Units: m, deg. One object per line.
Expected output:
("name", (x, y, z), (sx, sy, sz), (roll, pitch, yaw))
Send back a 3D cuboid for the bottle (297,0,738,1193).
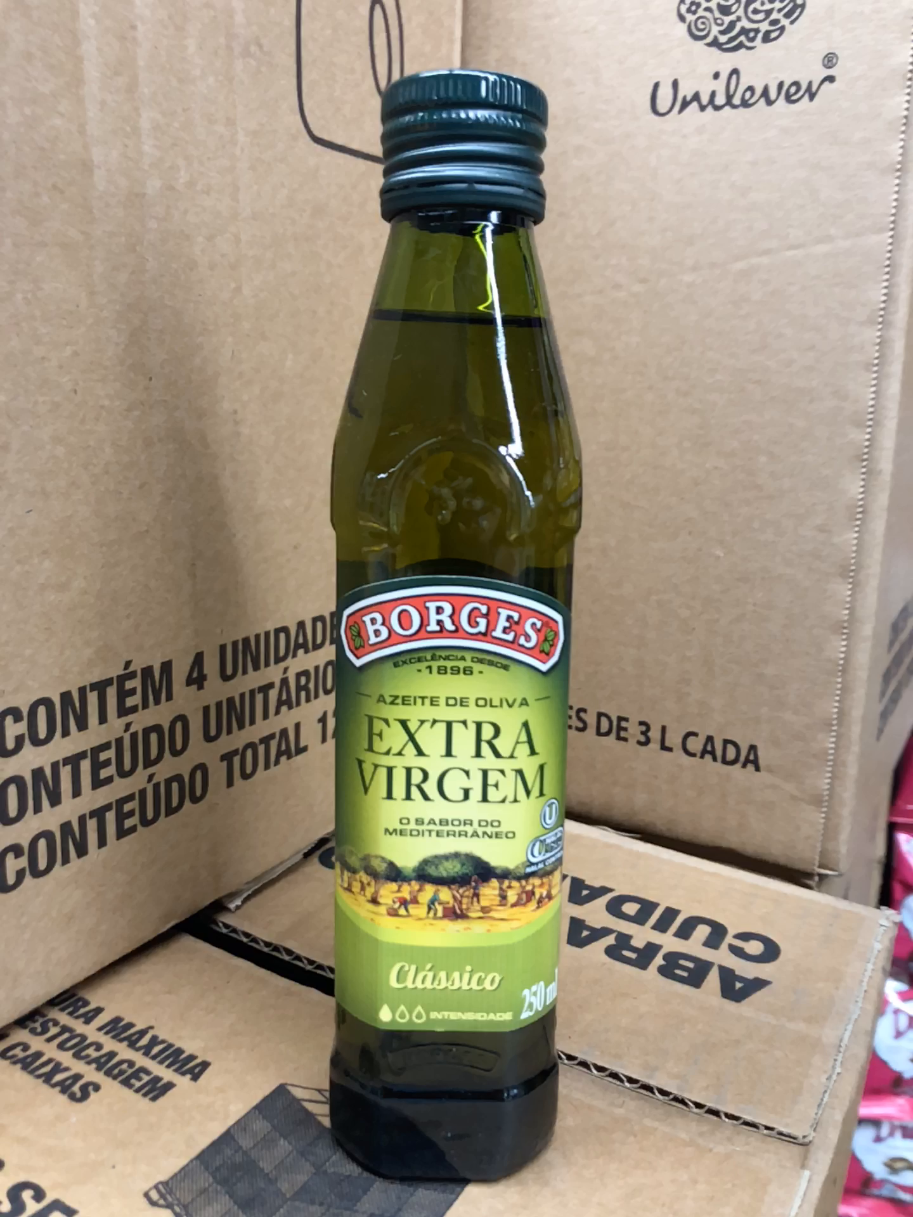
("bottle", (0.004, -0.002, 0.202), (0.060, 0.219, 0.060), (3, 12, -1))
